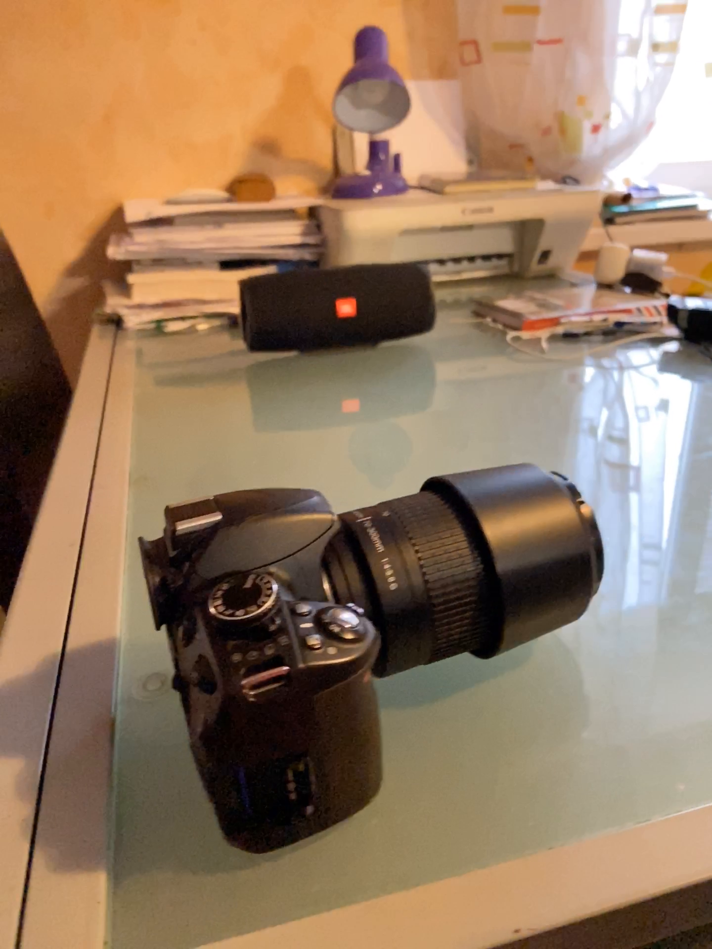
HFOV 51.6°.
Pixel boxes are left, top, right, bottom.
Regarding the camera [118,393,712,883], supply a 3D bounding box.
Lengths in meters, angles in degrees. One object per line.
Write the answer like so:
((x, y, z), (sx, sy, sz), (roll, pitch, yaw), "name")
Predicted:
((0.019, 0.046, 0.314), (0.209, 0.099, 0.135), (-11, 25, -18), "camera")
